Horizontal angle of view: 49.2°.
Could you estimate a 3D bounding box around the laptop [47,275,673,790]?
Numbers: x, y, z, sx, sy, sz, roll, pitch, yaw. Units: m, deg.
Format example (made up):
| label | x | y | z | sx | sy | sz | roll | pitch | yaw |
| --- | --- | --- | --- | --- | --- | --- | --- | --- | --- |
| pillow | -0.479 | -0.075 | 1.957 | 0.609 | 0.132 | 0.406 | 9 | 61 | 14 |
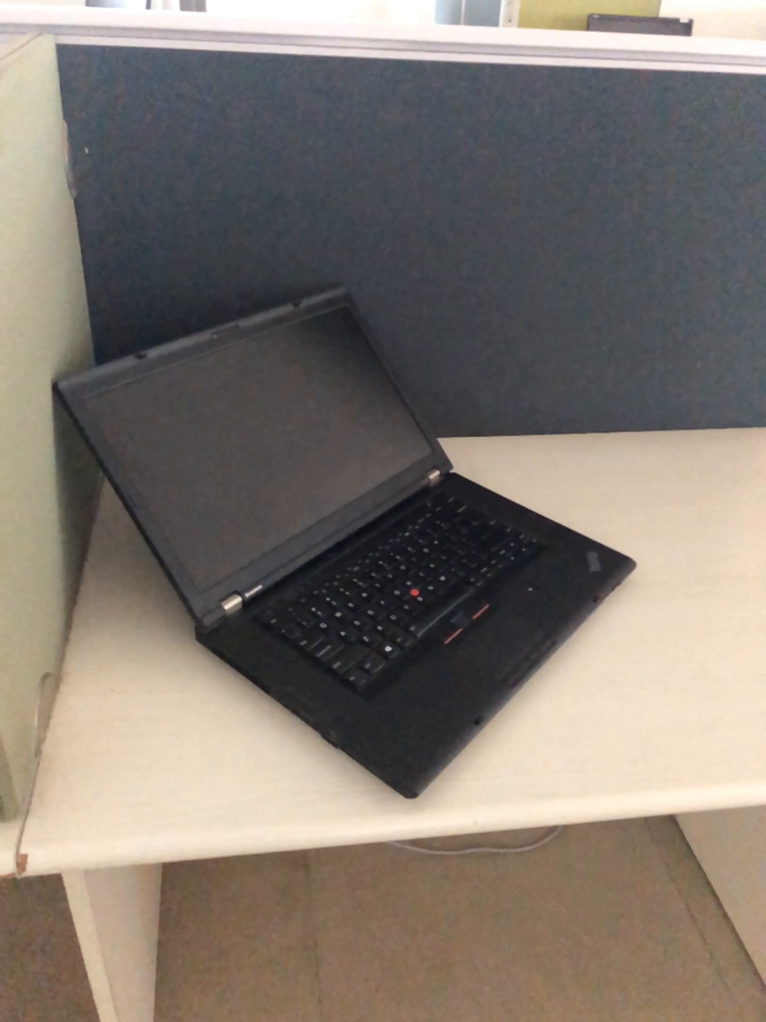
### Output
| label | x | y | z | sx | sy | sz | roll | pitch | yaw |
| --- | --- | --- | --- | --- | --- | --- | --- | --- | --- |
| laptop | -0.017 | -0.033 | 0.759 | 0.405 | 0.167 | 0.357 | 28 | 41 | 29 |
